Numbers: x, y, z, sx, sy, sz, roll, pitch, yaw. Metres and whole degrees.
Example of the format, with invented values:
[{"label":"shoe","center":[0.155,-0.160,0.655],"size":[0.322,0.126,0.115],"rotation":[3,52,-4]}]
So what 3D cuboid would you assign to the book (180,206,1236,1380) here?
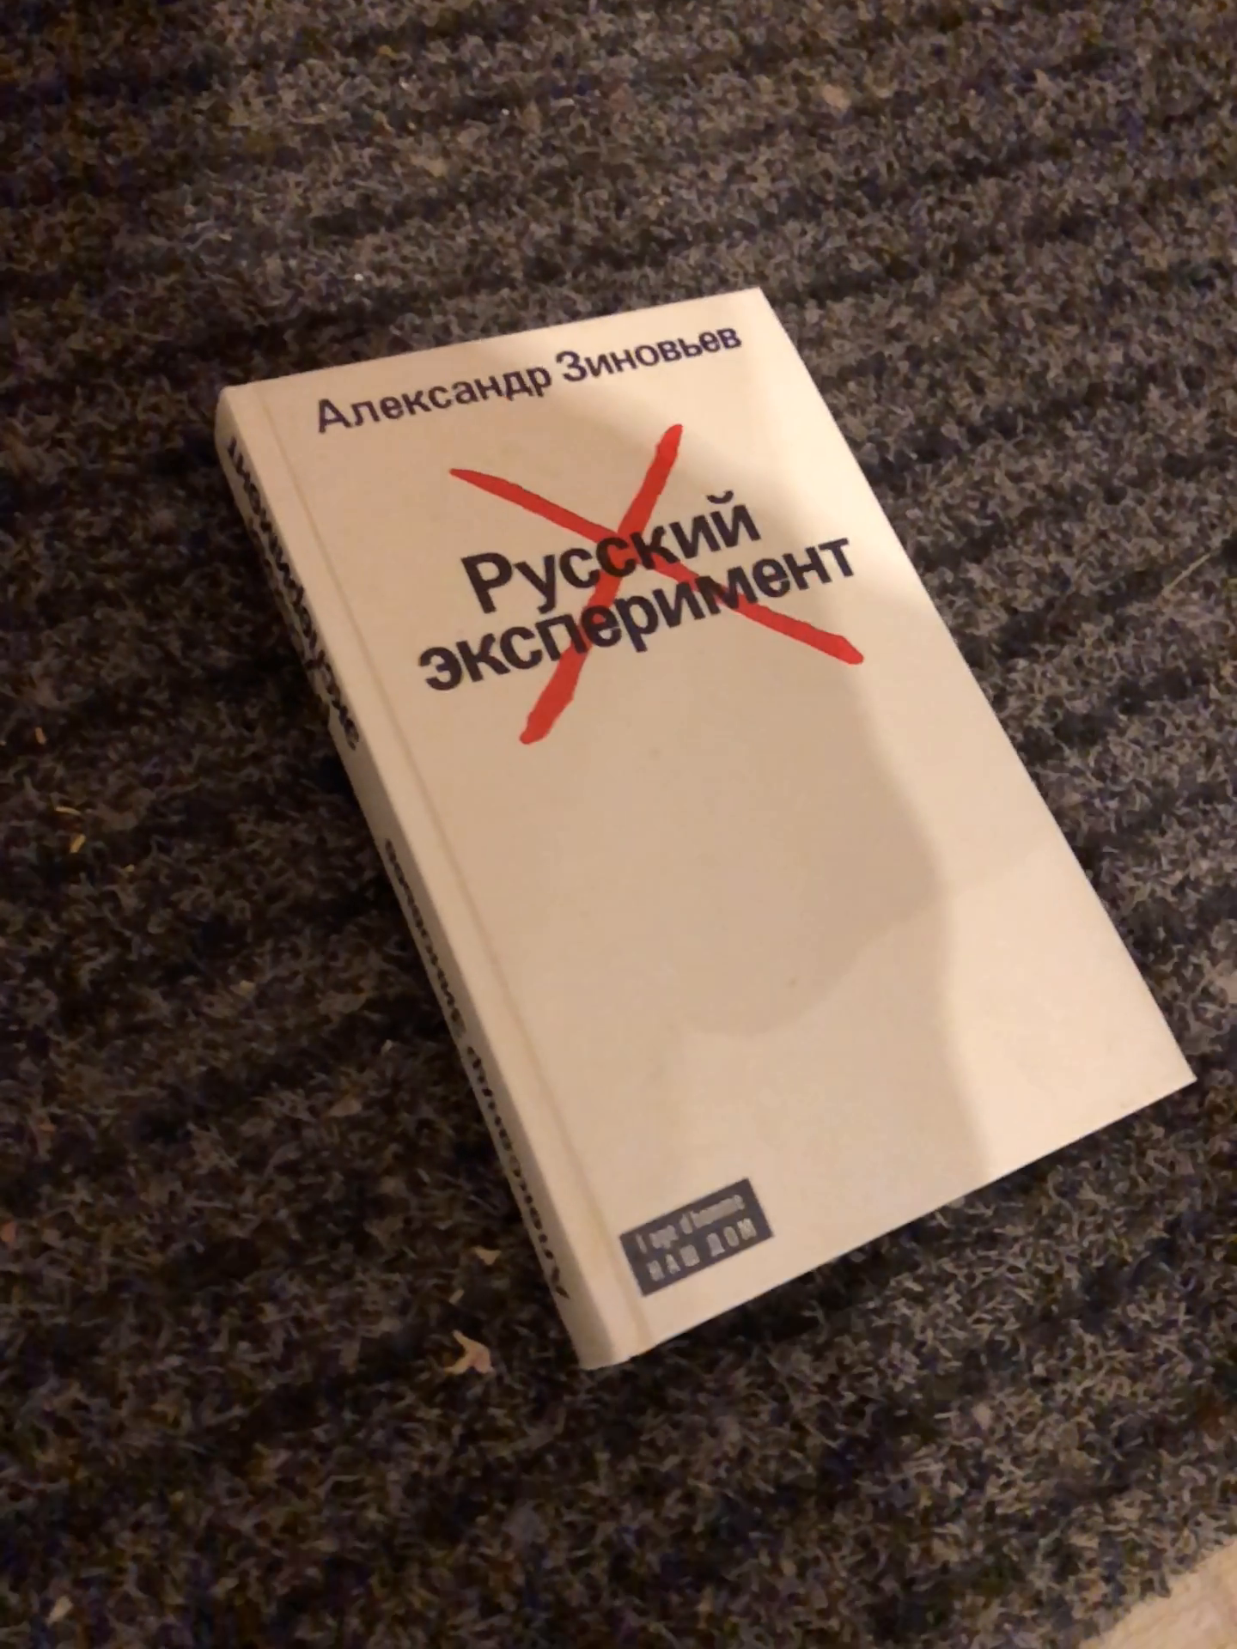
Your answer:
[{"label":"book","center":[0.010,-0.018,0.252],"size":[0.120,0.040,0.190],"rotation":[-18,73,-20]}]
